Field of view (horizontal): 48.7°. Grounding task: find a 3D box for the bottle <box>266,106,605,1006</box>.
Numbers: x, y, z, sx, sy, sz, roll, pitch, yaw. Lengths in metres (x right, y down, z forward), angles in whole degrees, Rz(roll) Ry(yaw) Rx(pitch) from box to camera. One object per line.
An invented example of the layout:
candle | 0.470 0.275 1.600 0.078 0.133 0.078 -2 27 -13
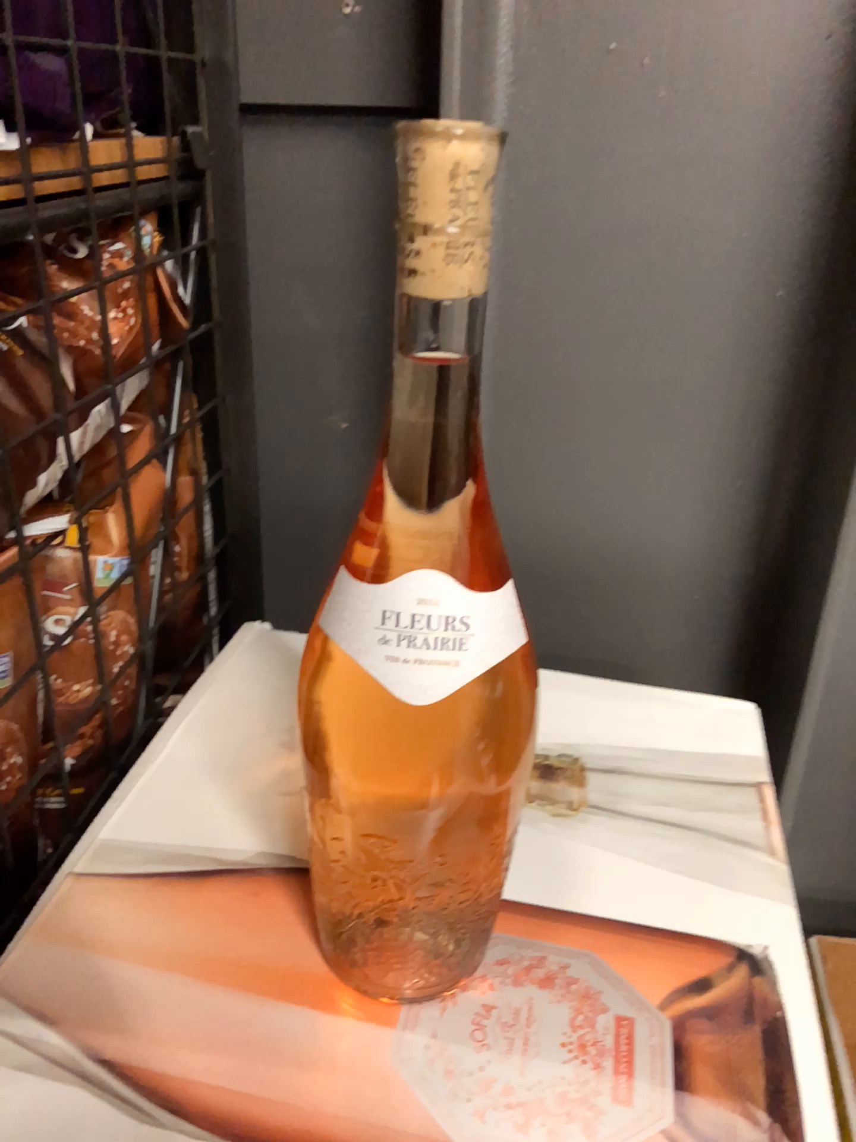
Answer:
bottle | -0.001 0.006 0.328 0.080 0.299 0.090 1 26 0
